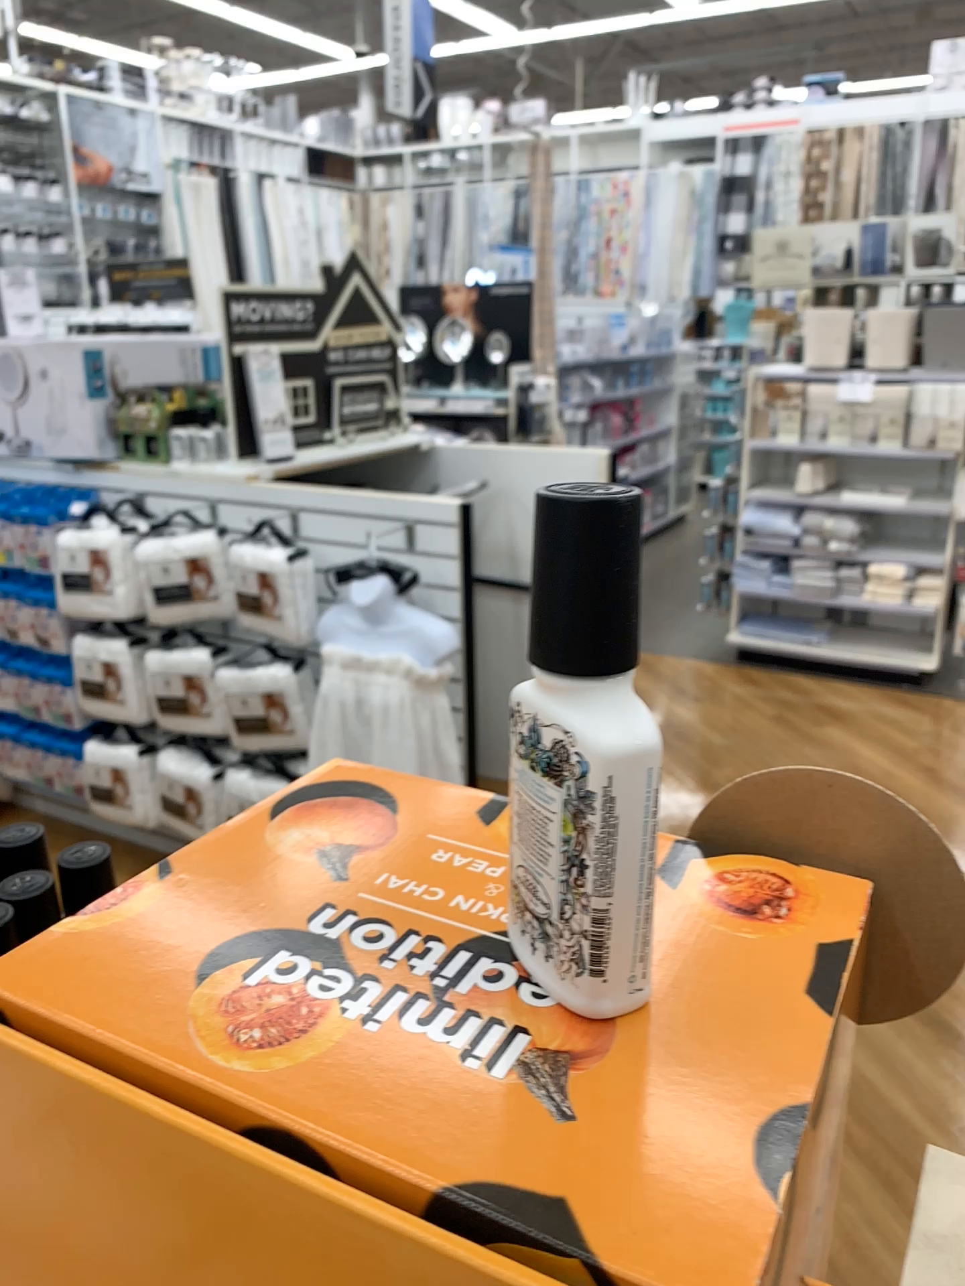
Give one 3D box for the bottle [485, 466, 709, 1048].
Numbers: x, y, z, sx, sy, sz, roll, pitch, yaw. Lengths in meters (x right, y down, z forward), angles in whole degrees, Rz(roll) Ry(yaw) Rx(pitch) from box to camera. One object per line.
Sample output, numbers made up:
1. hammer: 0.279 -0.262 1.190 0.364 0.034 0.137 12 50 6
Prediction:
1. bottle: 0.029 0.030 0.286 0.033 0.151 0.055 -10 20 -27
